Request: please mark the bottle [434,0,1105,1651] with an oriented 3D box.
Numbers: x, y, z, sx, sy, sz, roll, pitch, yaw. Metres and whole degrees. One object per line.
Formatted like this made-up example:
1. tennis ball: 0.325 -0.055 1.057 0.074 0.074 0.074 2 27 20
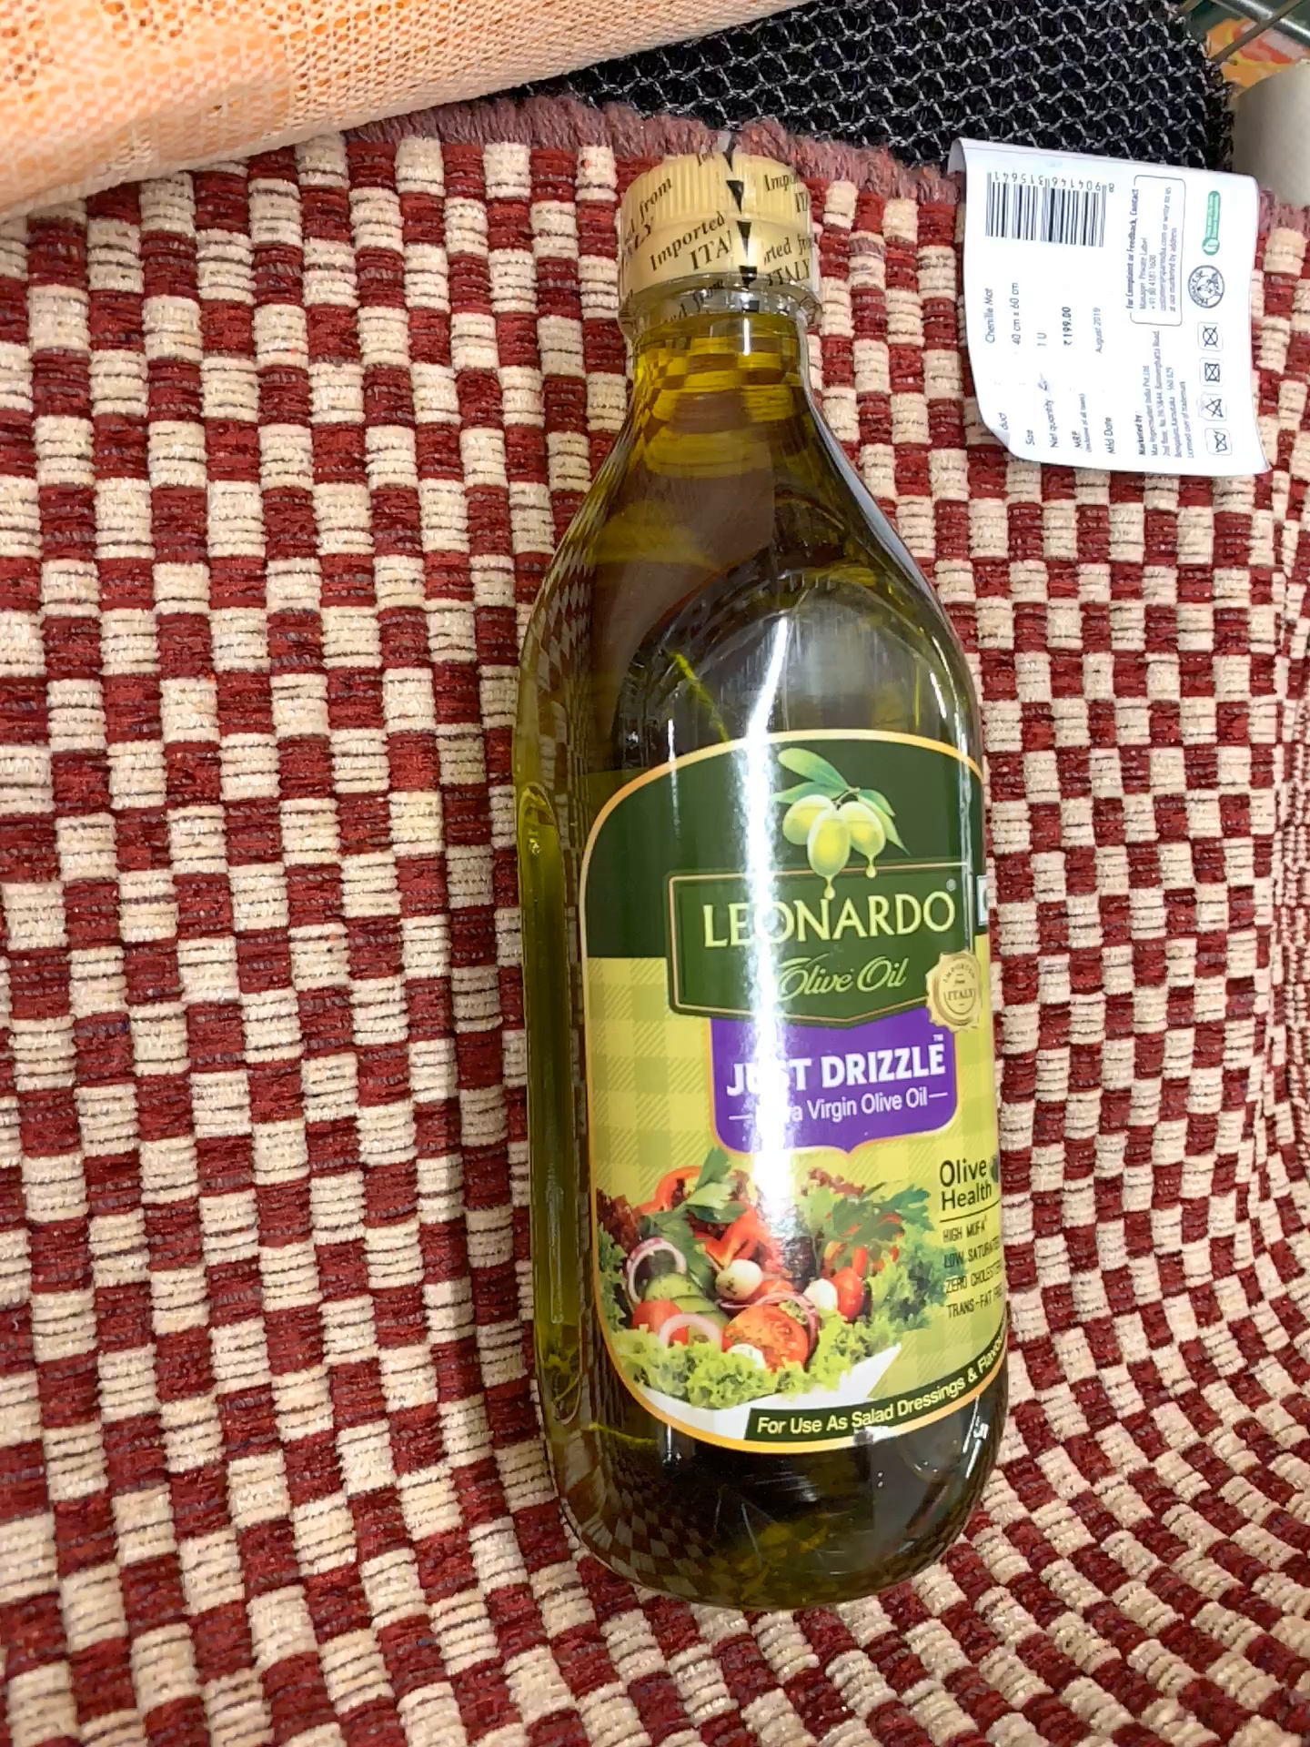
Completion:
1. bottle: 0.017 -0.017 0.231 0.080 0.070 0.240 -2 90 -31
